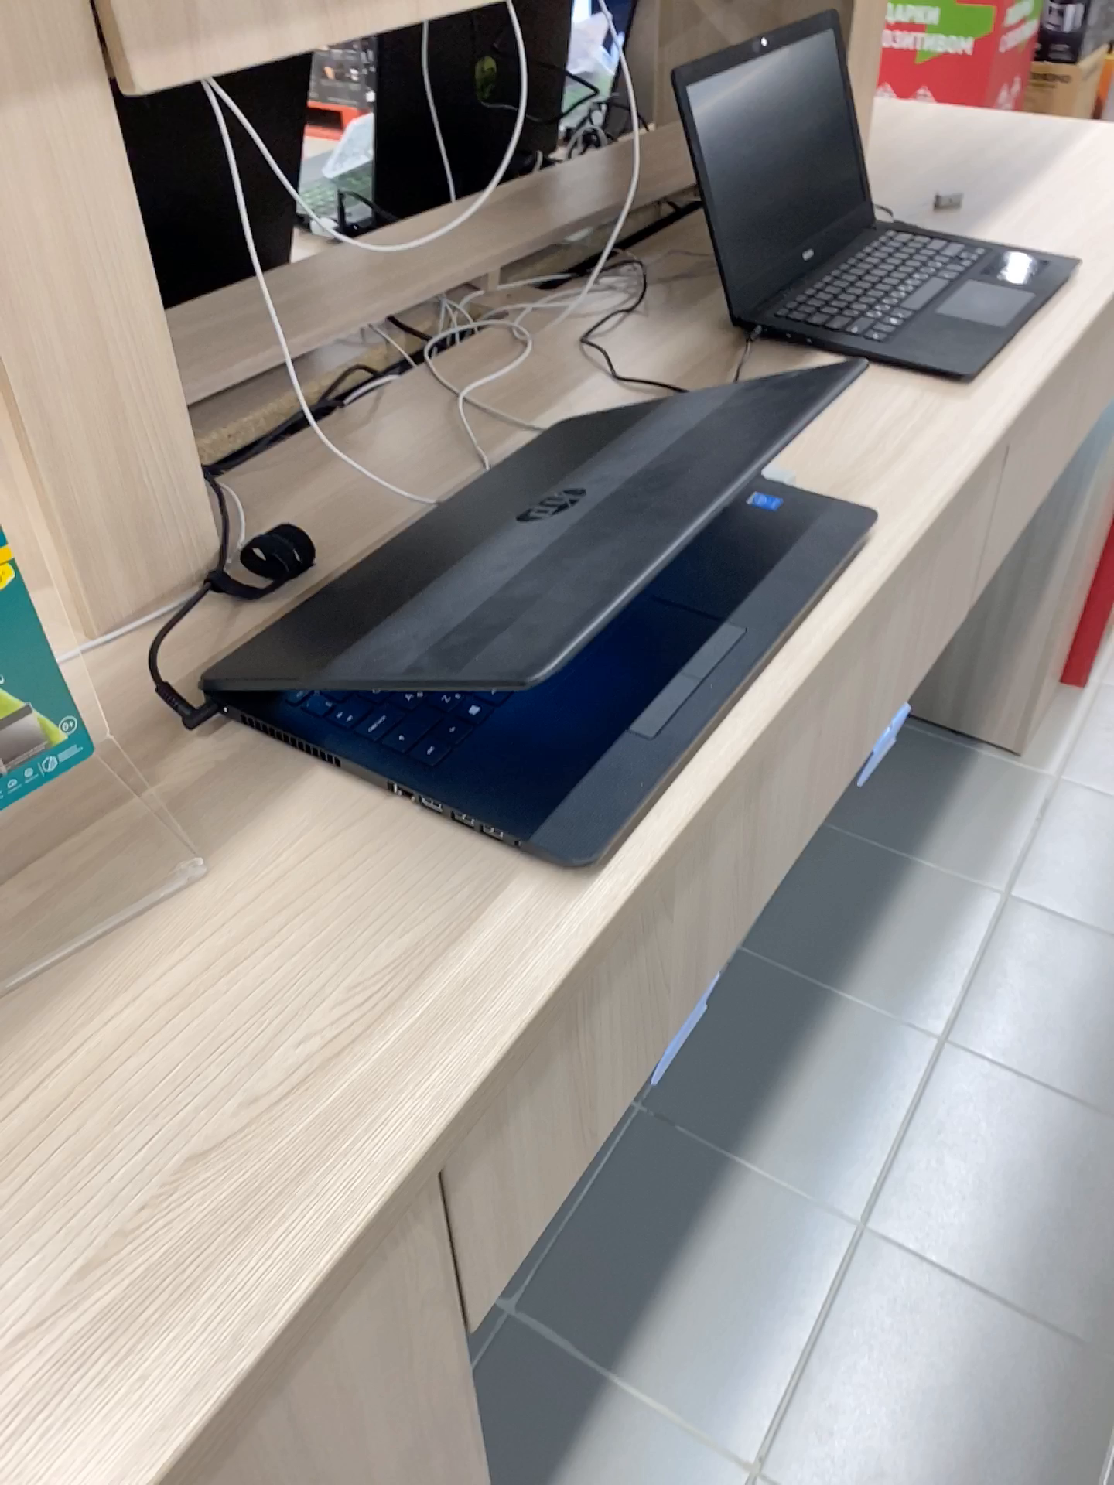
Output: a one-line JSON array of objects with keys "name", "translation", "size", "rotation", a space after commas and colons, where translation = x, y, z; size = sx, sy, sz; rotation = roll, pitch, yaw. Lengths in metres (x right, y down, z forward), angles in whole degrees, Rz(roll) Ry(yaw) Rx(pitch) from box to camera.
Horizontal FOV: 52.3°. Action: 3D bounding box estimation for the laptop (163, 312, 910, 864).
[{"name": "laptop", "translation": [0.012, -0.125, 0.660], "size": [0.251, 0.093, 0.374], "rotation": [22, 45, 25]}]
